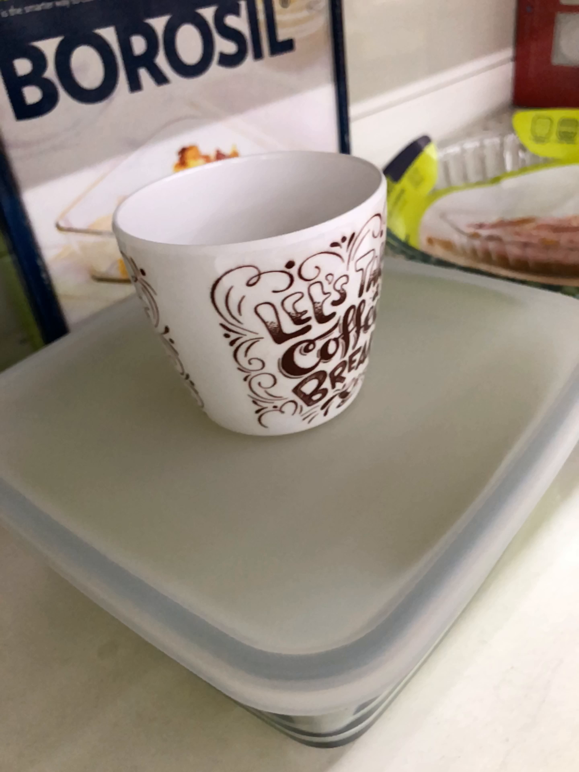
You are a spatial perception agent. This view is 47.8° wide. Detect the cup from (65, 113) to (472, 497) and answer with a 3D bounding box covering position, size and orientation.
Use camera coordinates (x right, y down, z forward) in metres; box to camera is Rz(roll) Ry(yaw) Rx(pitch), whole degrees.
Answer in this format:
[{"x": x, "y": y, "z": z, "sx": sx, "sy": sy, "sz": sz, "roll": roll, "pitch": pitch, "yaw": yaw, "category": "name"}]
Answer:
[{"x": 0.003, "y": -0.034, "z": 0.202, "sx": 0.070, "sy": 0.070, "sz": 0.101, "roll": 15, "pitch": 40, "yaw": 31, "category": "cup"}]
